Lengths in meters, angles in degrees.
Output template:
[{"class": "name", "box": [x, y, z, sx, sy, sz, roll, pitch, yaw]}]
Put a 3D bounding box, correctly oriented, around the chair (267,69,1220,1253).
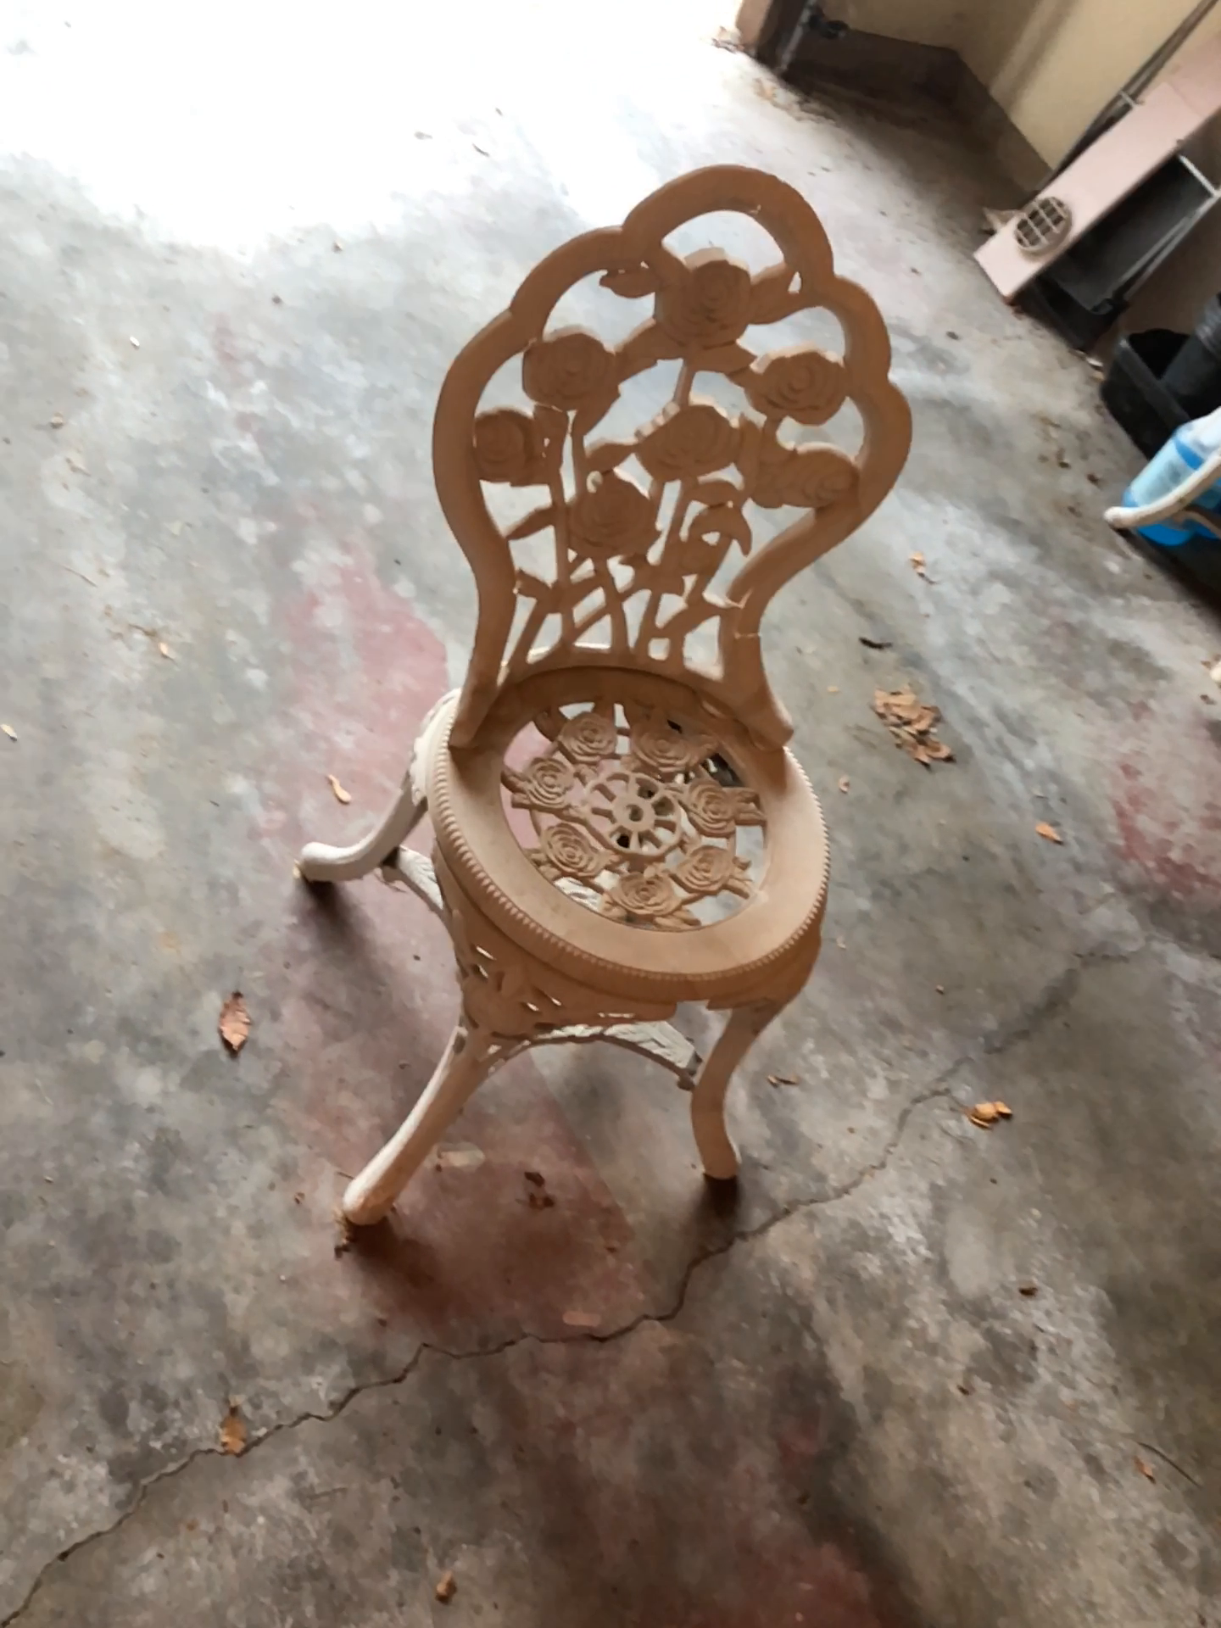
[{"class": "chair", "box": [0.037, -0.040, 1.211, 0.491, 0.898, 0.500, -1, 56, -25]}]
